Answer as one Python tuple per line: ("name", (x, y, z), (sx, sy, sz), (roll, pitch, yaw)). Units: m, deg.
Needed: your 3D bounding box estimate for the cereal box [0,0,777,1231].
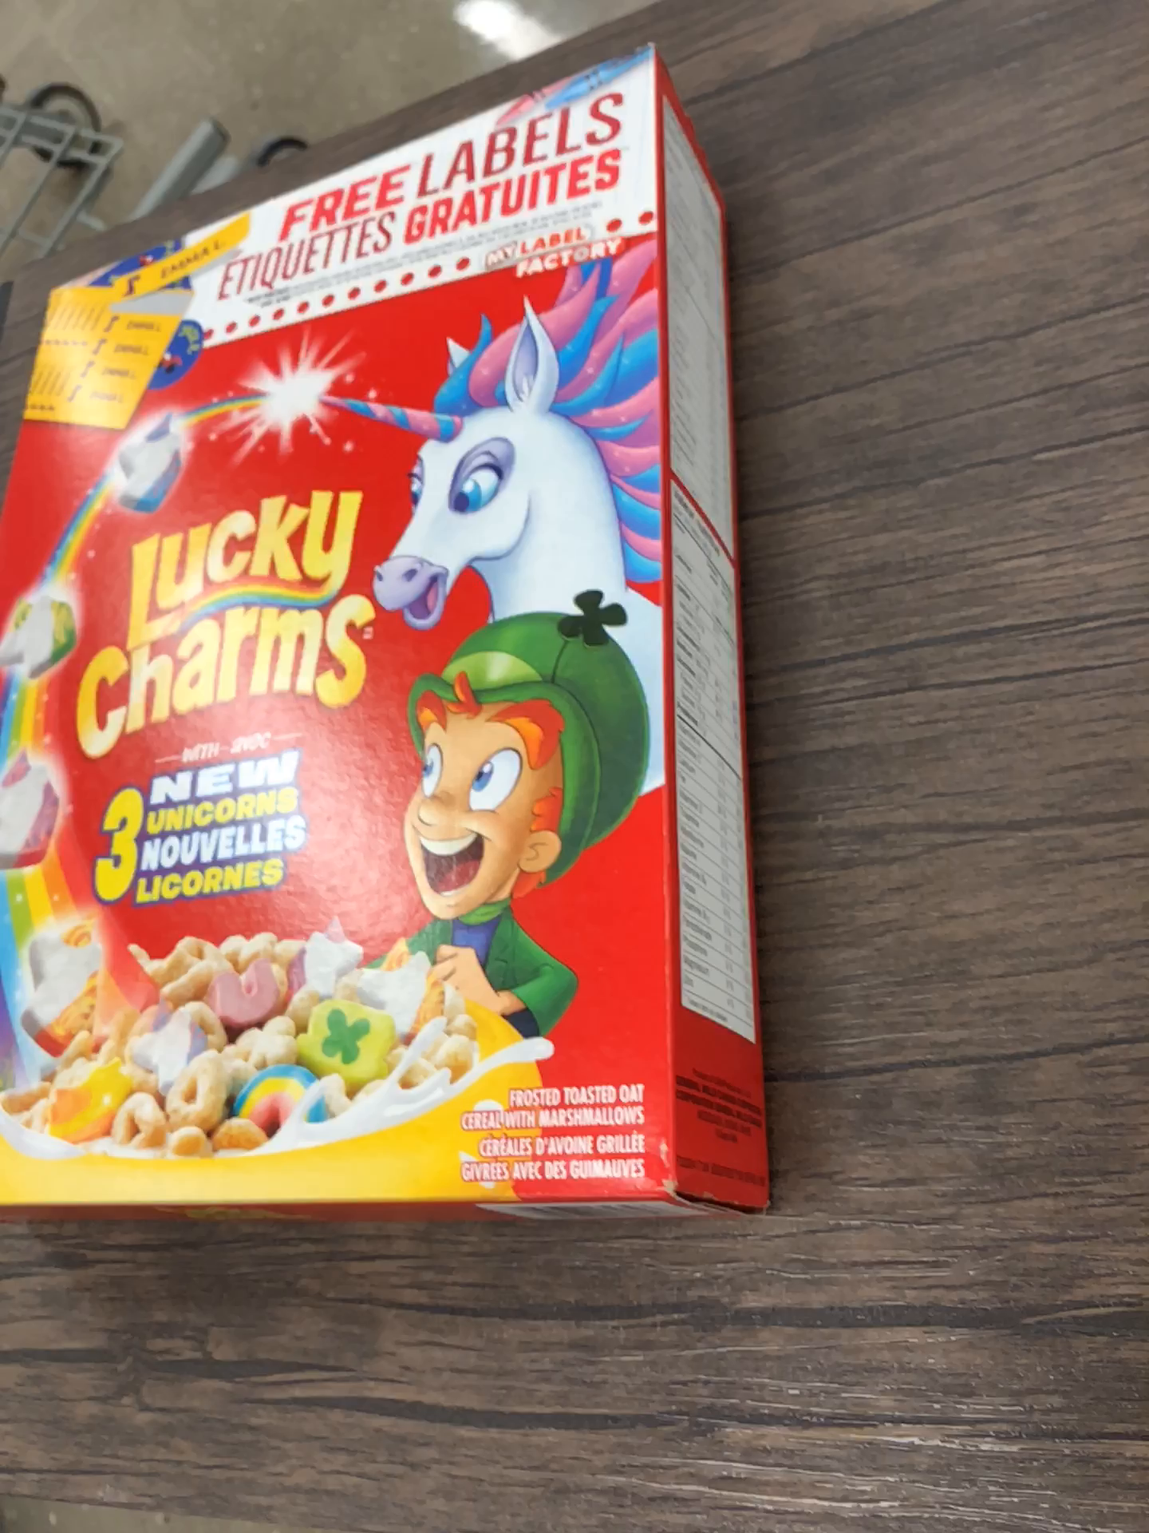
("cereal box", (-0.069, -0.040, 0.383), (0.231, 0.080, 0.330), (-10, 64, 24))
